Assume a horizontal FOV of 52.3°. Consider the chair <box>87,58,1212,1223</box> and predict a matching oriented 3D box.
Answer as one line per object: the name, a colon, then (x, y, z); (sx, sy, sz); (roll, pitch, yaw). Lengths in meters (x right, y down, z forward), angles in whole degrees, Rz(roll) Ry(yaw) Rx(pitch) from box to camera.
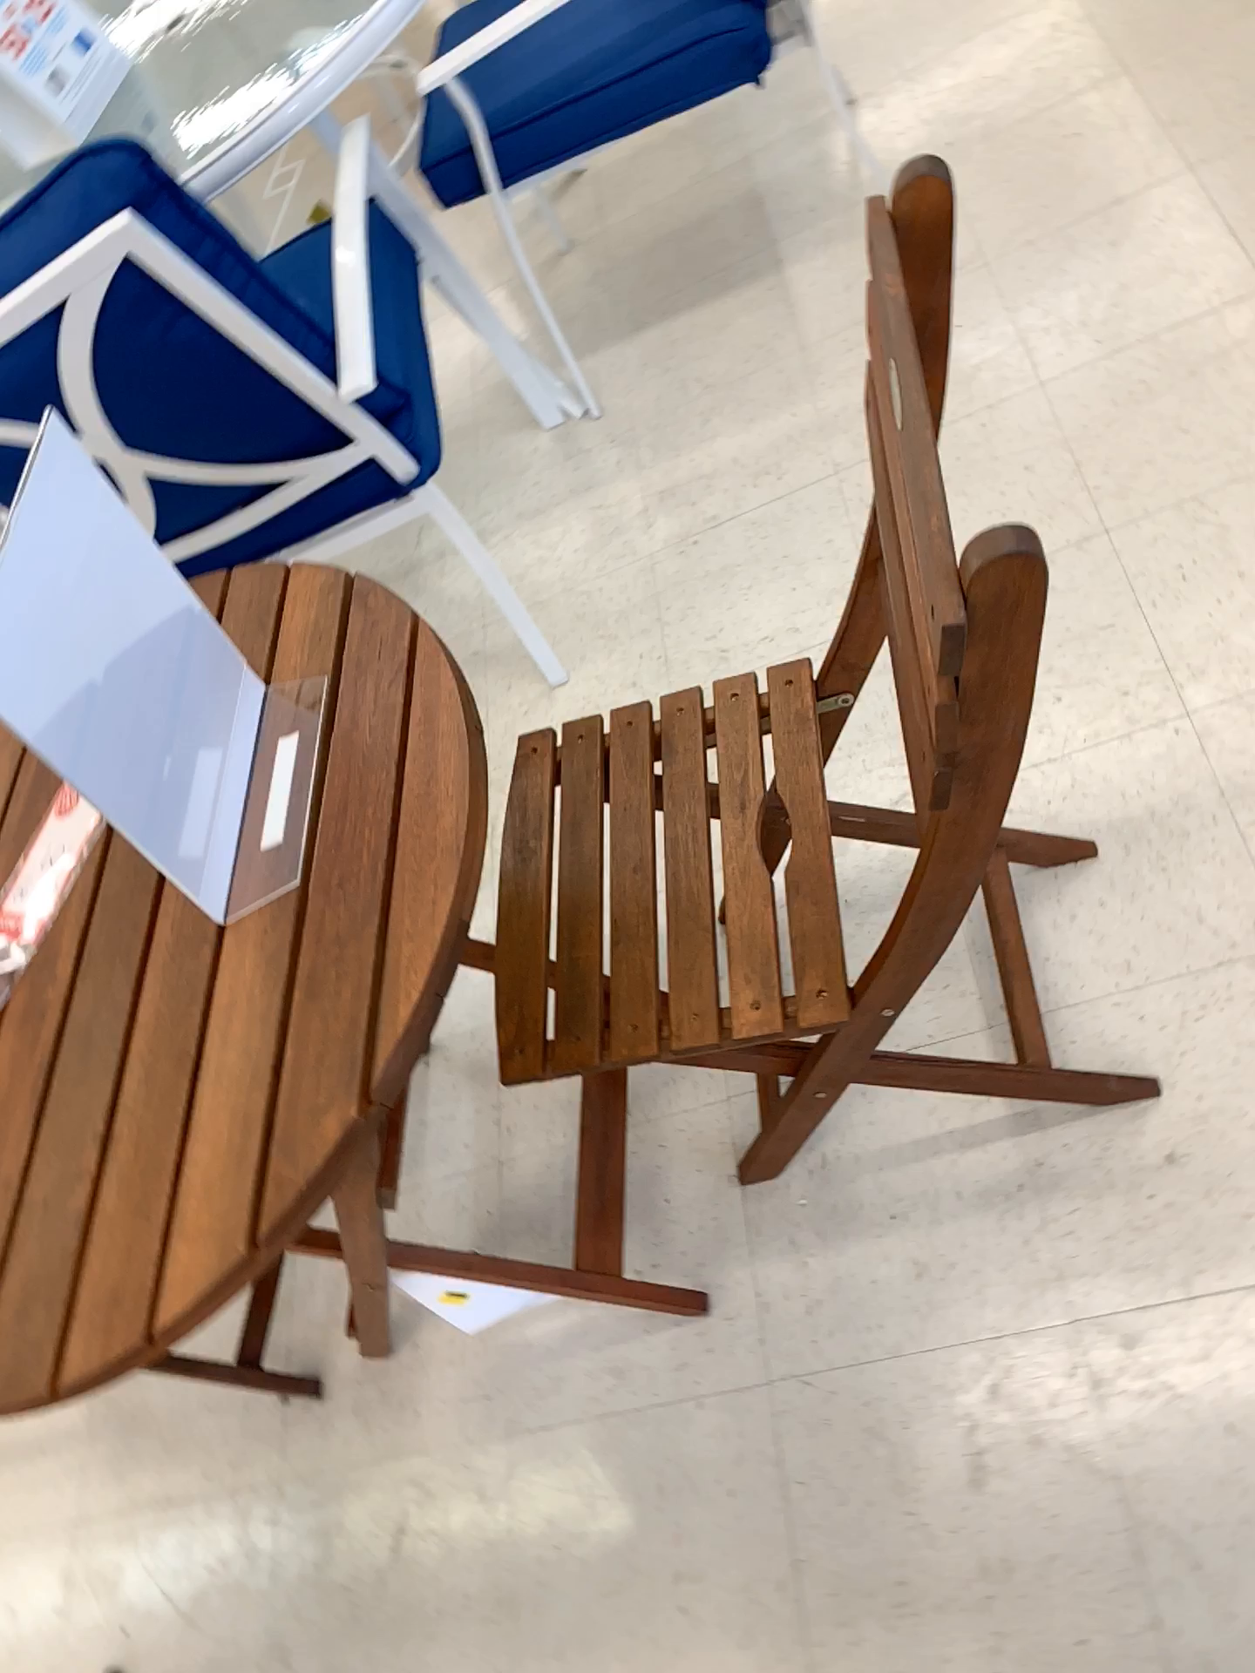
chair: (0.097, -0.040, 1.064); (0.551, 0.776, 0.442); (-16, 54, 21)
